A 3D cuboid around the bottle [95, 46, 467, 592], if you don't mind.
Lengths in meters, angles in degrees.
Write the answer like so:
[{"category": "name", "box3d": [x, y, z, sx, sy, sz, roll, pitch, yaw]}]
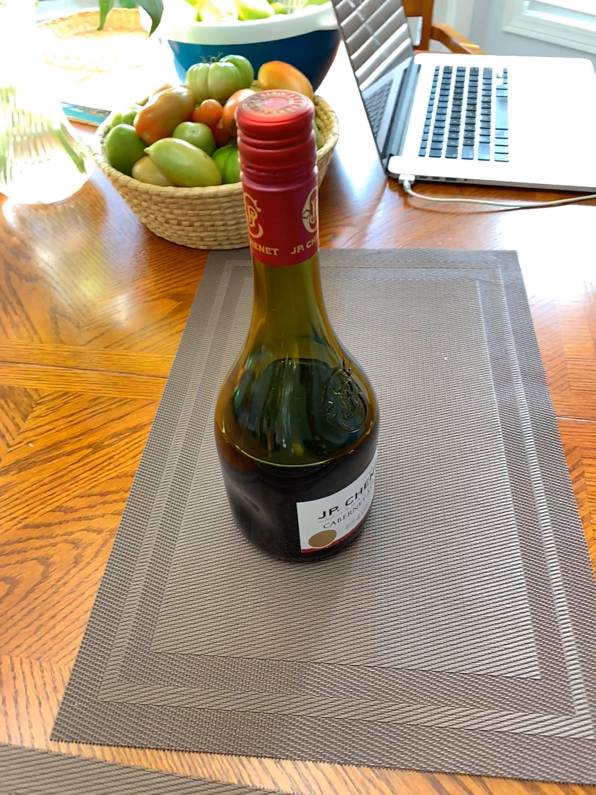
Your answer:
[{"category": "bottle", "box3d": [-0.003, -0.021, 0.326, 0.100, 0.258, 0.101, -1, 47, 2]}]
